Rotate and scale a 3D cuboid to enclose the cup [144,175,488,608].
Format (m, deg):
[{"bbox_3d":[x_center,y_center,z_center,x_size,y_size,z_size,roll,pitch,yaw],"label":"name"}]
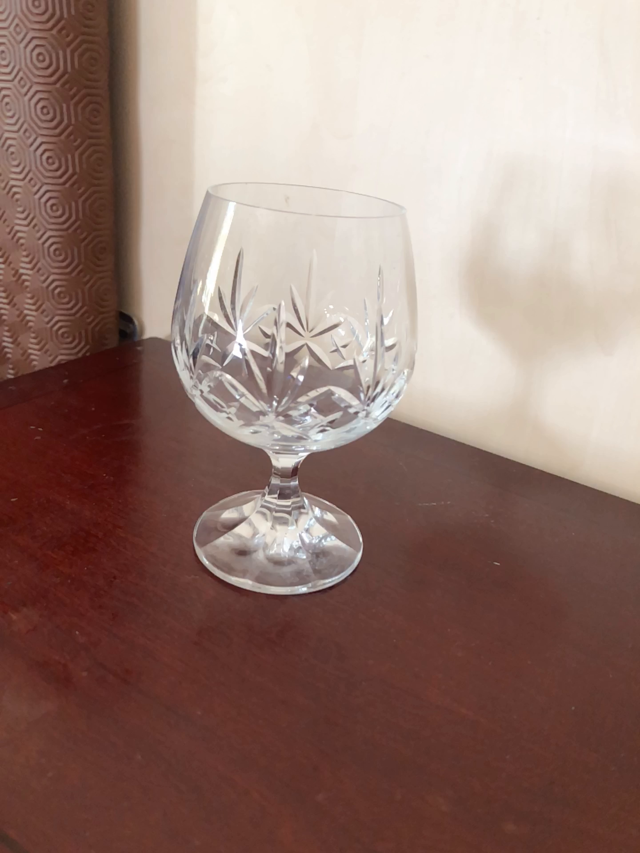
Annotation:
[{"bbox_3d":[-0.013,-0.018,0.261,0.089,0.126,0.088,6,23,-3],"label":"cup"}]
